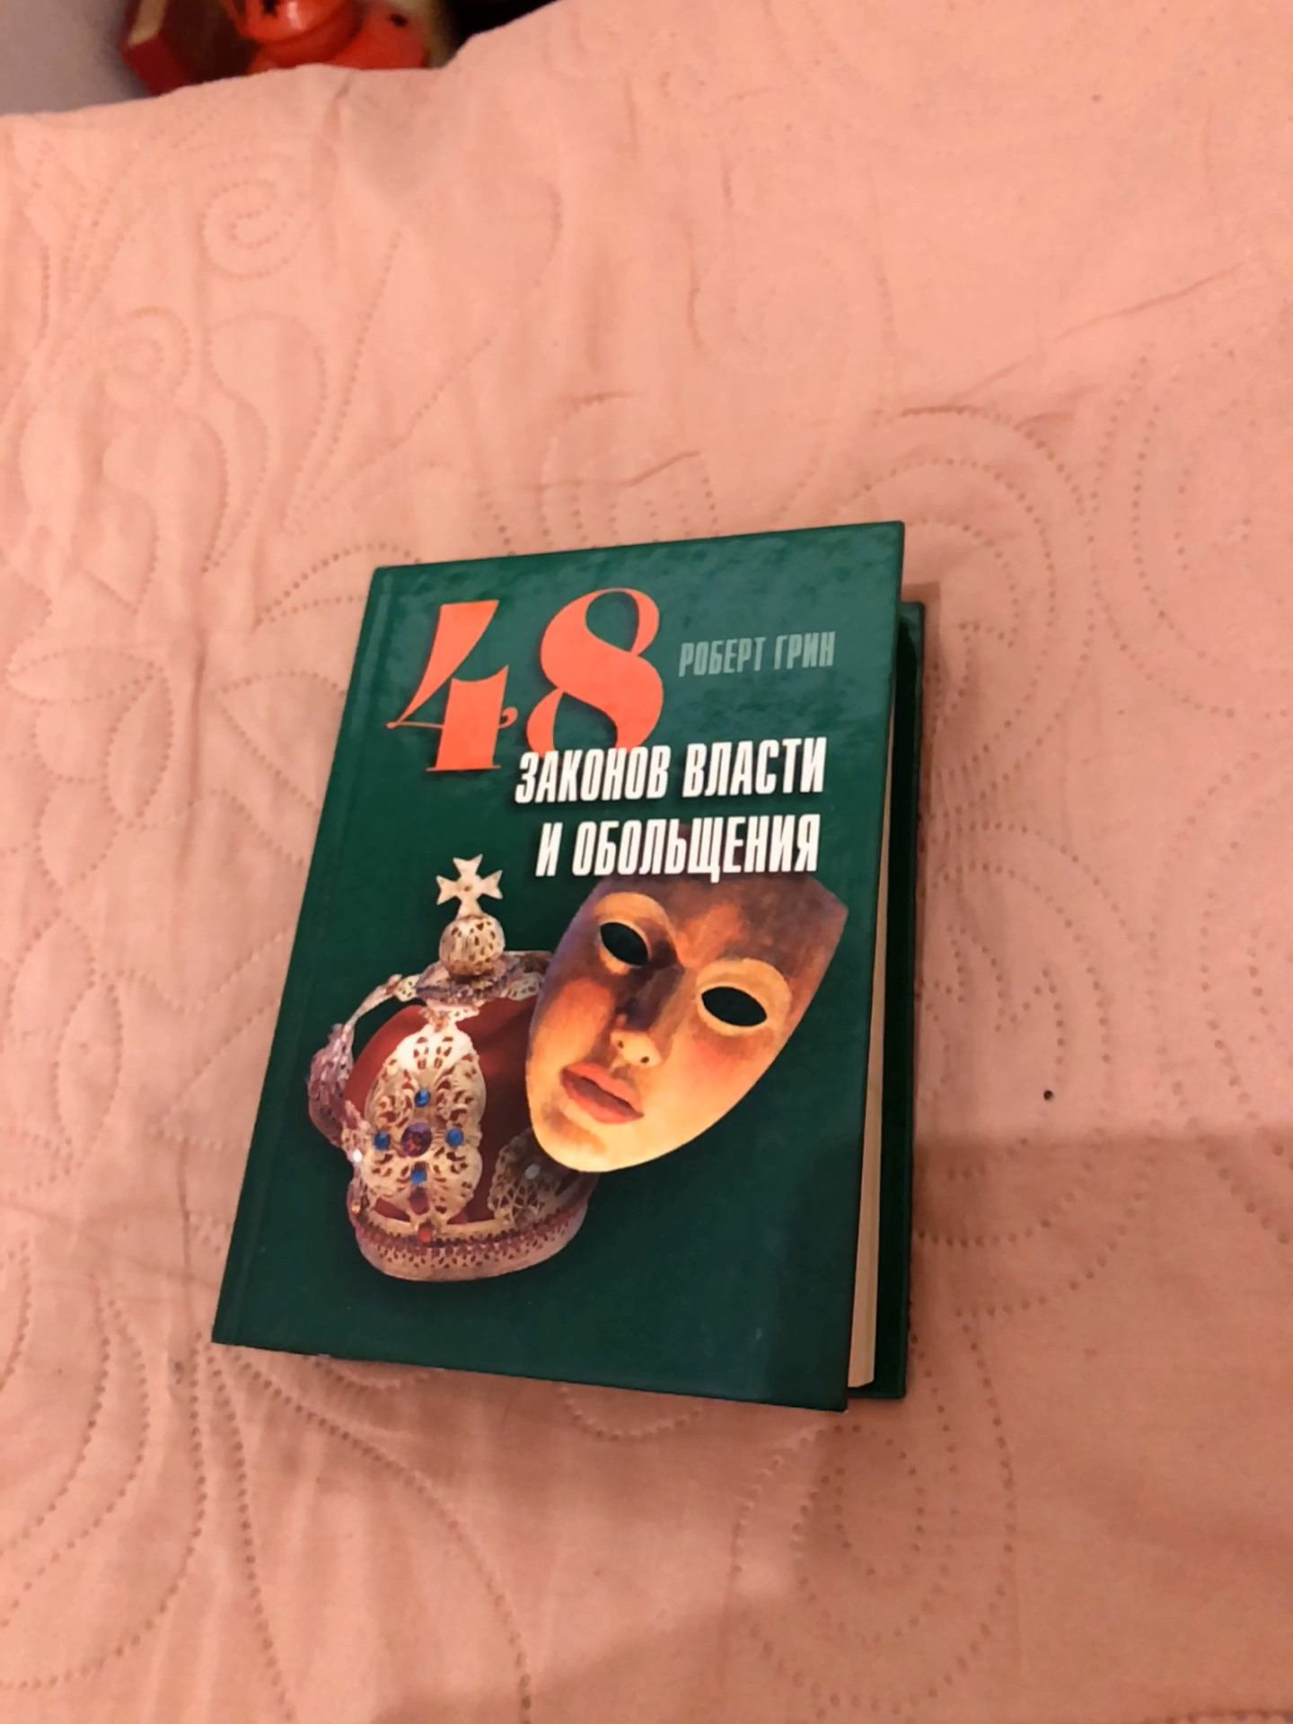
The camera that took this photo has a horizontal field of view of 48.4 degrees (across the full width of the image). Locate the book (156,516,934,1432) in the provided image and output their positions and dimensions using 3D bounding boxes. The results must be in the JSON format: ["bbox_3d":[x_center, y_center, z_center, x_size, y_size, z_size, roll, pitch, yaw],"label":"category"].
[{"bbox_3d":[-0.010,0.014,0.244,0.110,0.032,0.143,-1,66,17],"label":"book"}]
